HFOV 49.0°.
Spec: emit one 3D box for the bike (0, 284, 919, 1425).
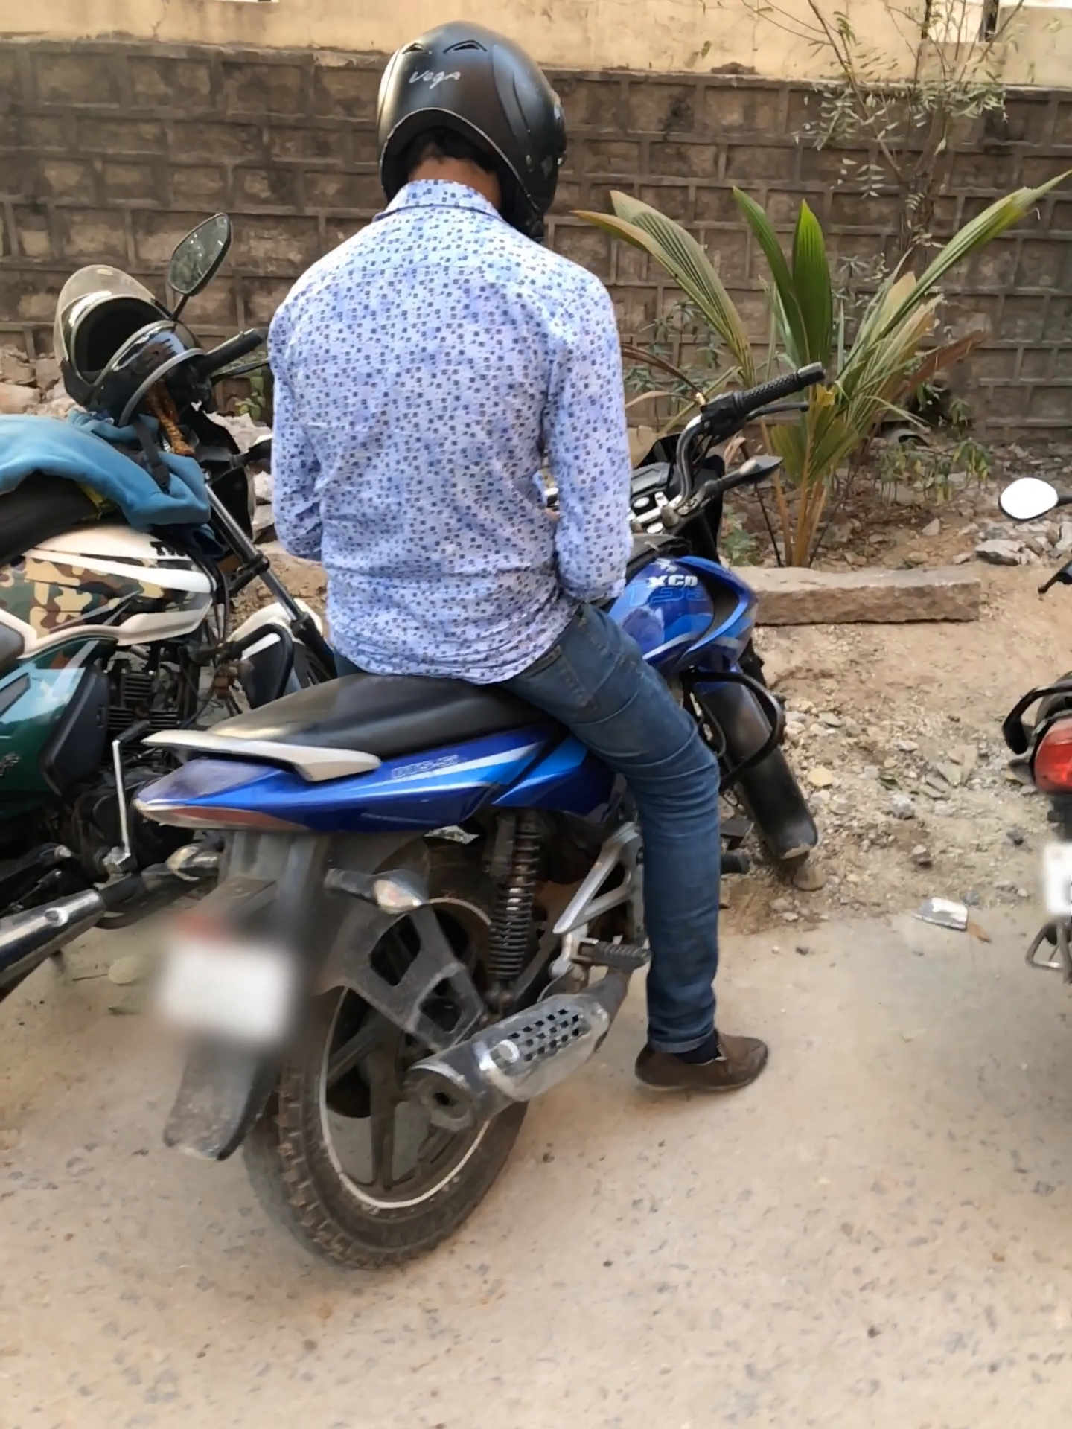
[{"bbox_3d":[0.004,-0.037,1.986,0.755,1.076,1.583,14,29,25],"label":"bike"}]
